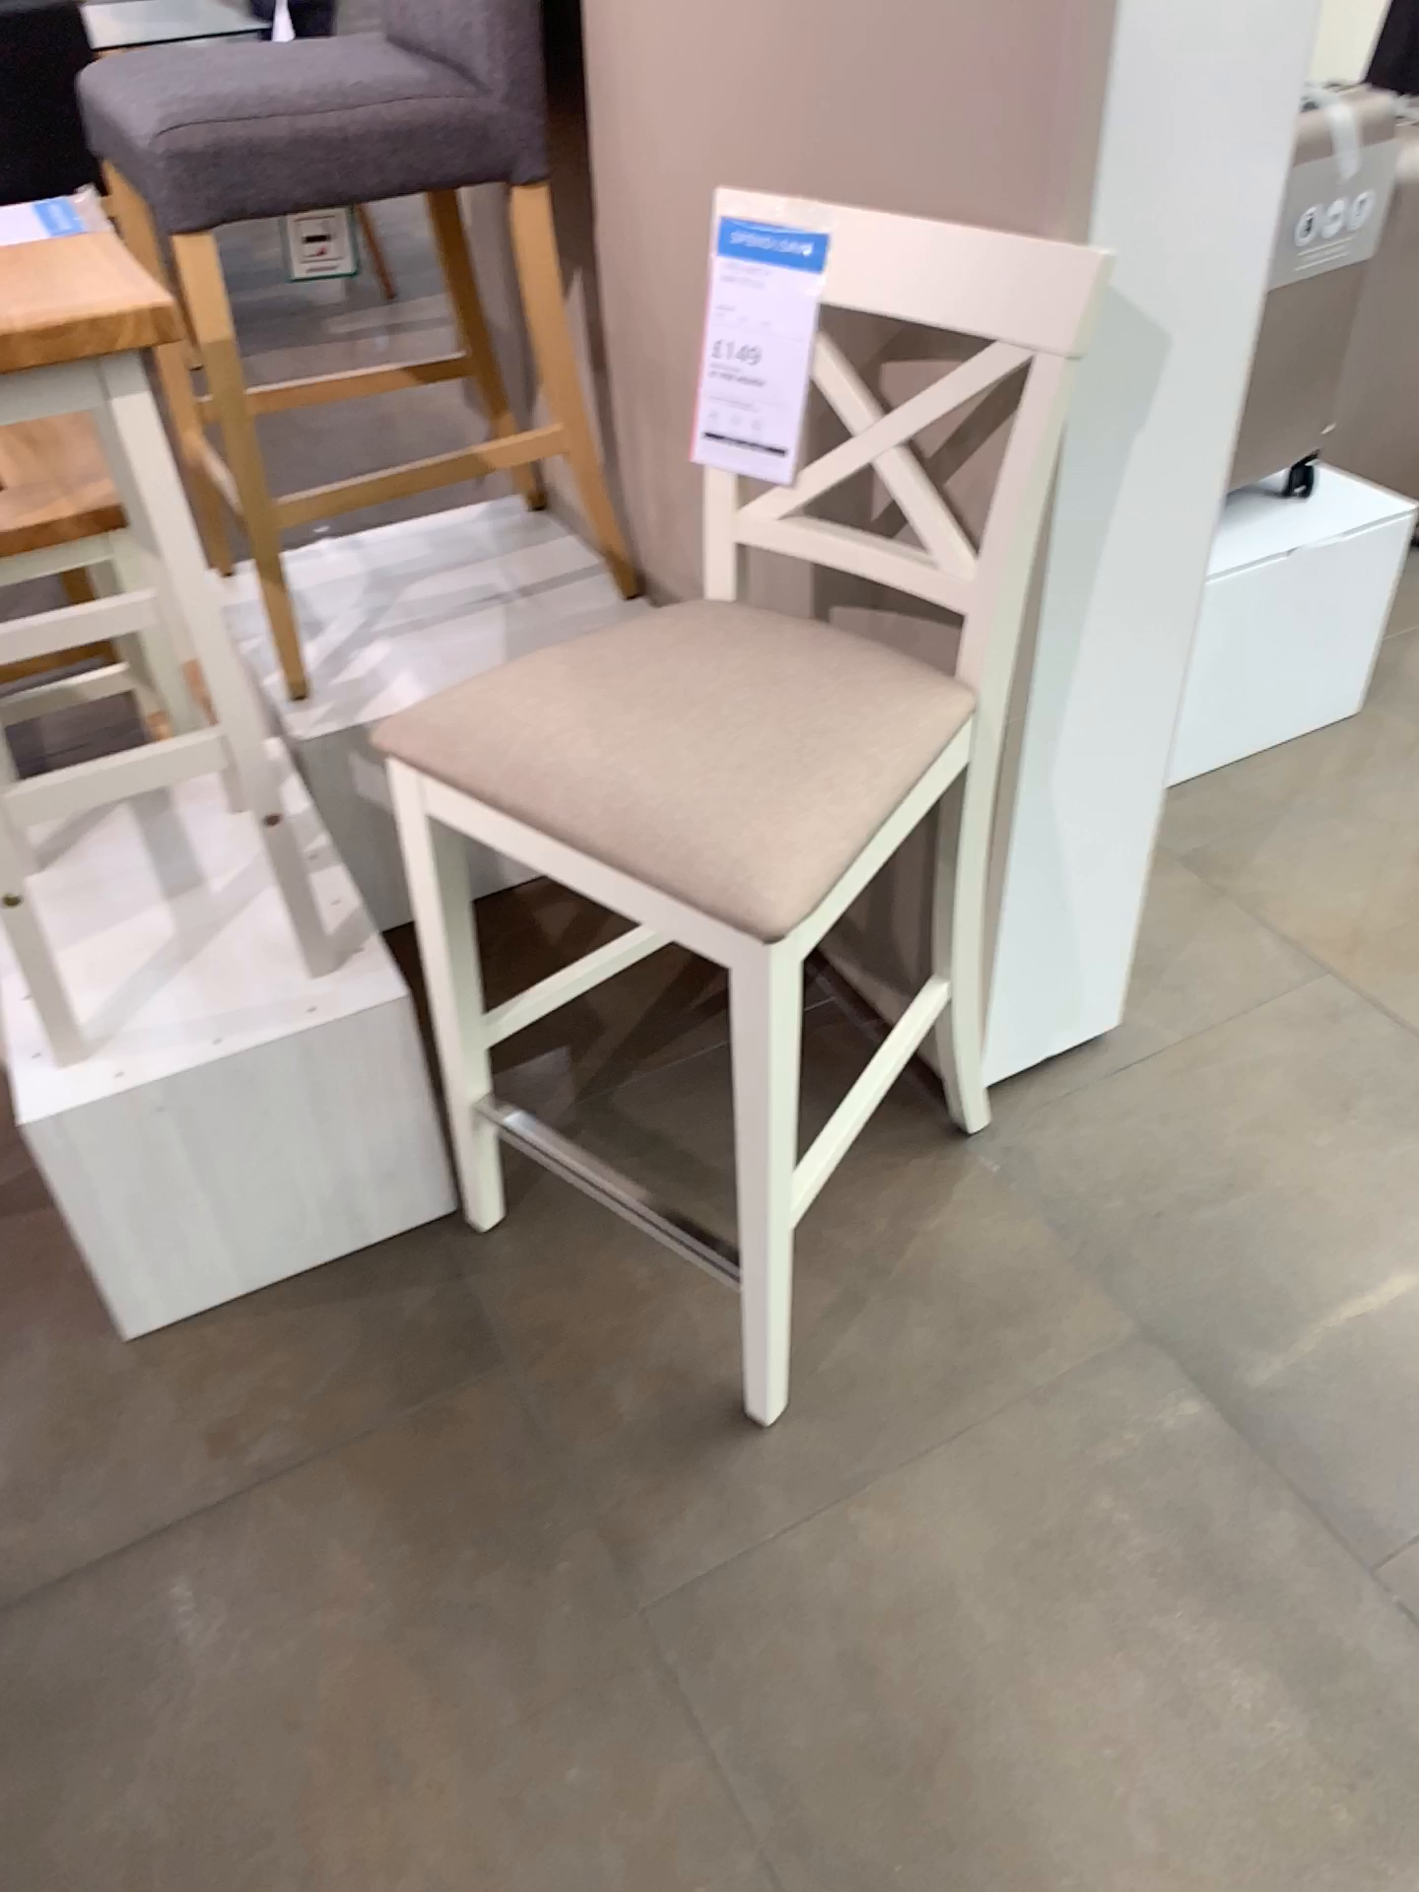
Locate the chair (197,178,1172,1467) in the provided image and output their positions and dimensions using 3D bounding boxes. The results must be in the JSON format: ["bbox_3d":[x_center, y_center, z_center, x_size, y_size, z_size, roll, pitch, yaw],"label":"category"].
[{"bbox_3d":[0.013,-0.102,1.310,0.451,0.938,0.540,26,48,31],"label":"chair"}]
